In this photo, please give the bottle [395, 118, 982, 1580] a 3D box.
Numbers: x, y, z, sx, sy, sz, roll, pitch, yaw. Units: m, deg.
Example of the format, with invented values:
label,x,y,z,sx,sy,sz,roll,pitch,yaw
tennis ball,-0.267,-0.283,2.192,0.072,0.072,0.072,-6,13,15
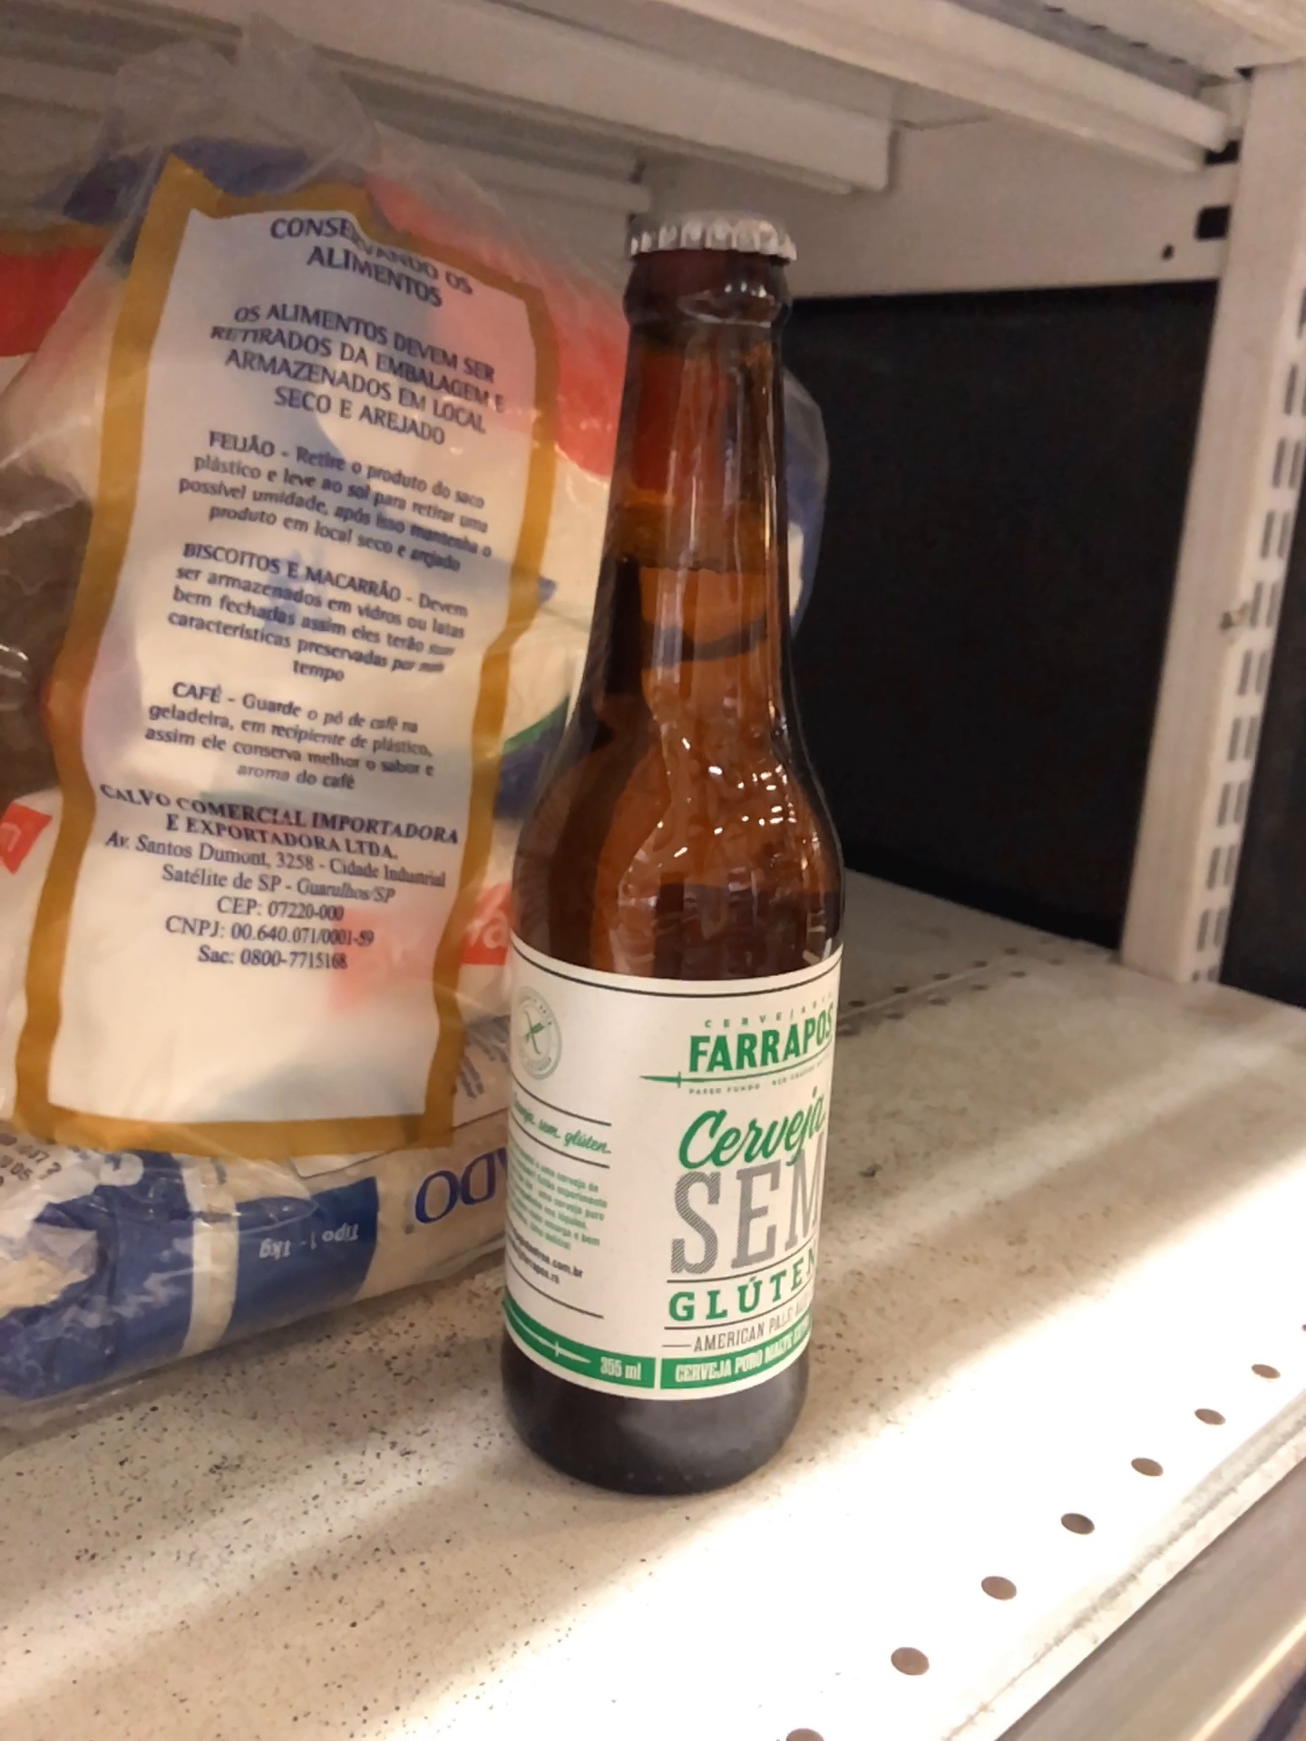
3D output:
label,x,y,z,sx,sy,sz,roll,pitch,yaw
bottle,0.001,-0.001,0.265,0.070,0.229,0.060,-10,20,-40
